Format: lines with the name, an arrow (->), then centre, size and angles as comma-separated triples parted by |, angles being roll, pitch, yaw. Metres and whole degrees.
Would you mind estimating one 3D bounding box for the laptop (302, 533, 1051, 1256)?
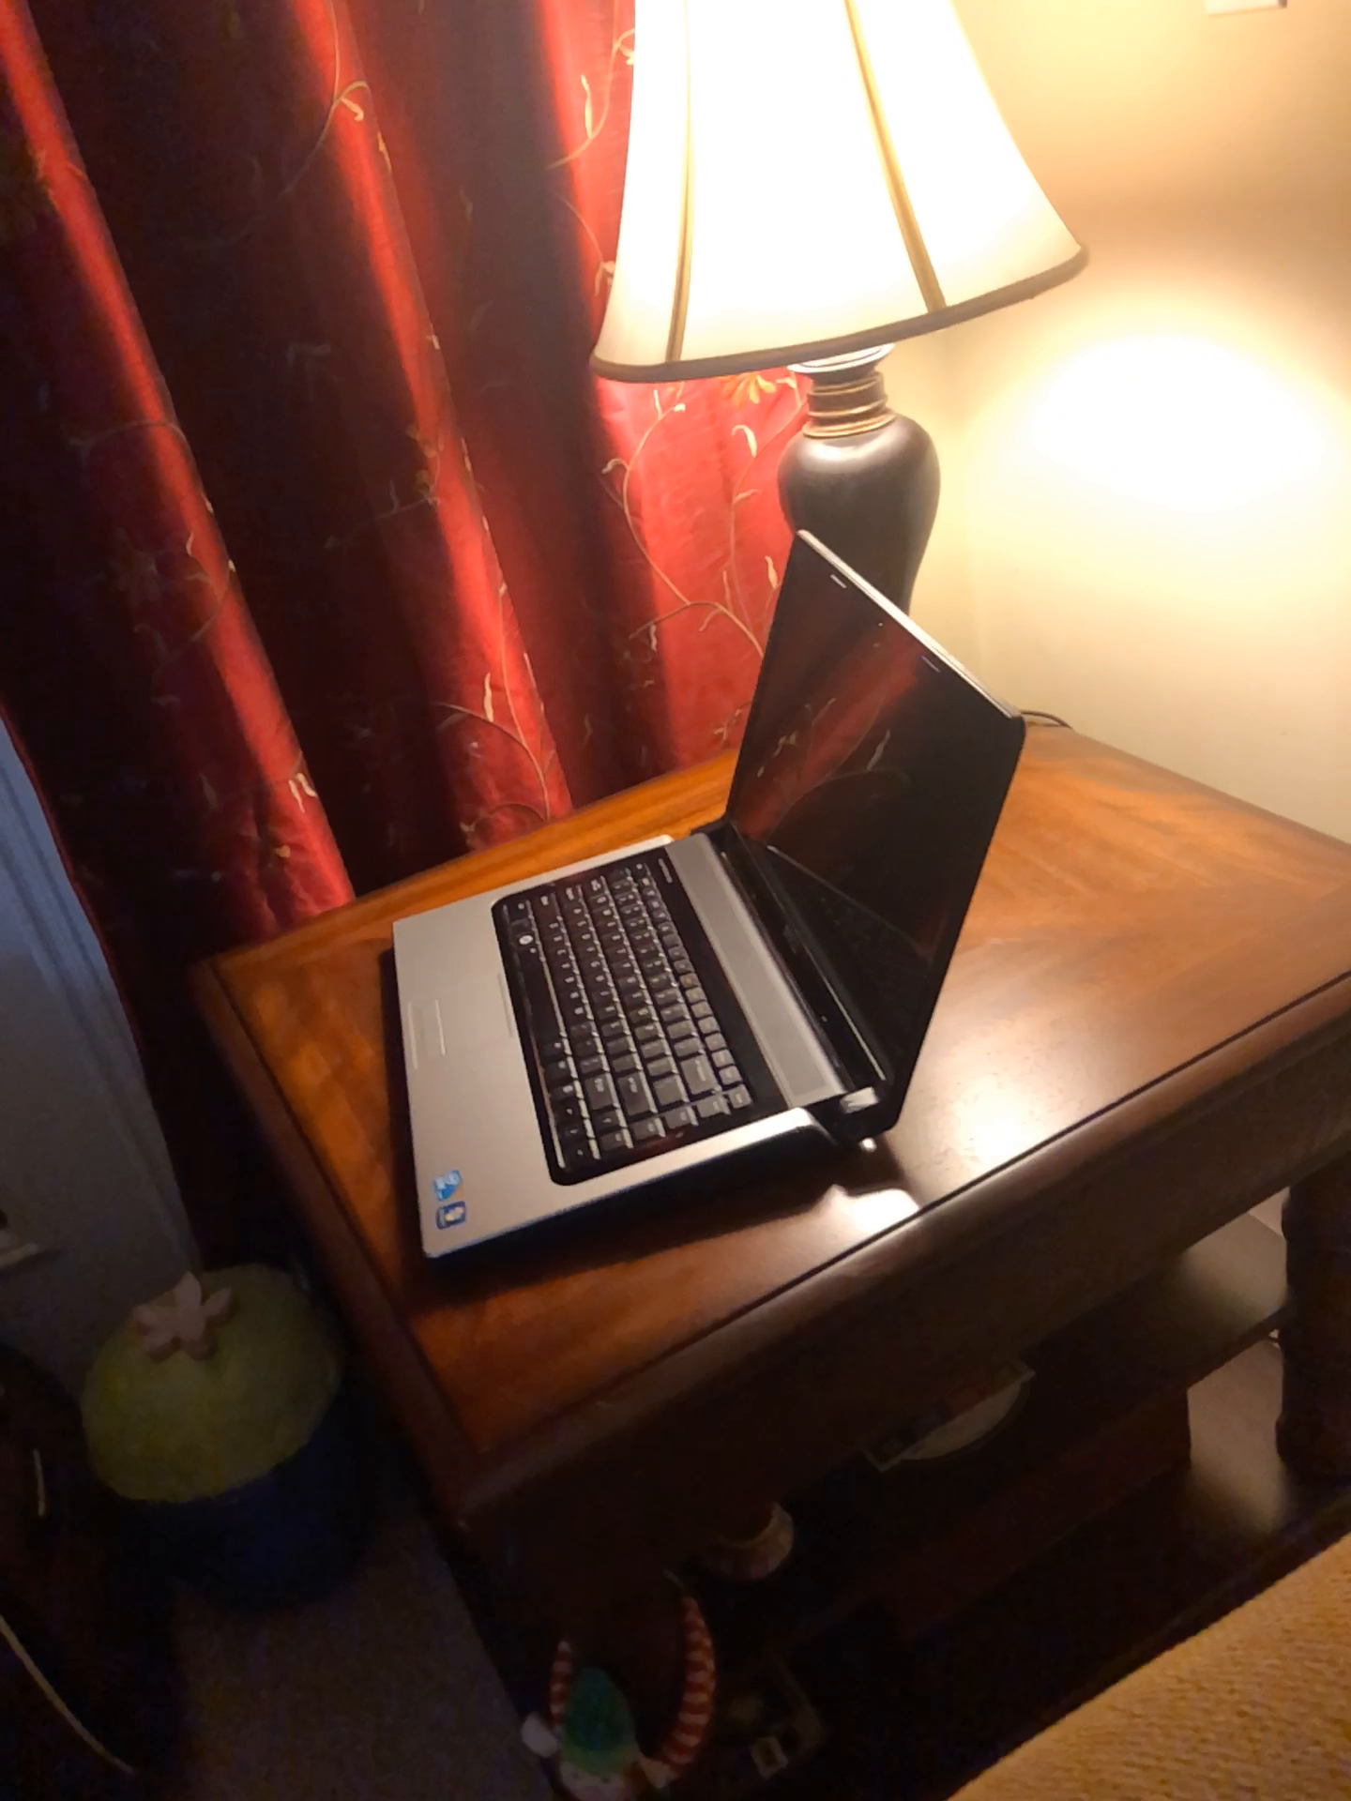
laptop -> -0.020, -0.035, 0.896 | 0.350, 0.204, 0.364 | -16, 30, -6
